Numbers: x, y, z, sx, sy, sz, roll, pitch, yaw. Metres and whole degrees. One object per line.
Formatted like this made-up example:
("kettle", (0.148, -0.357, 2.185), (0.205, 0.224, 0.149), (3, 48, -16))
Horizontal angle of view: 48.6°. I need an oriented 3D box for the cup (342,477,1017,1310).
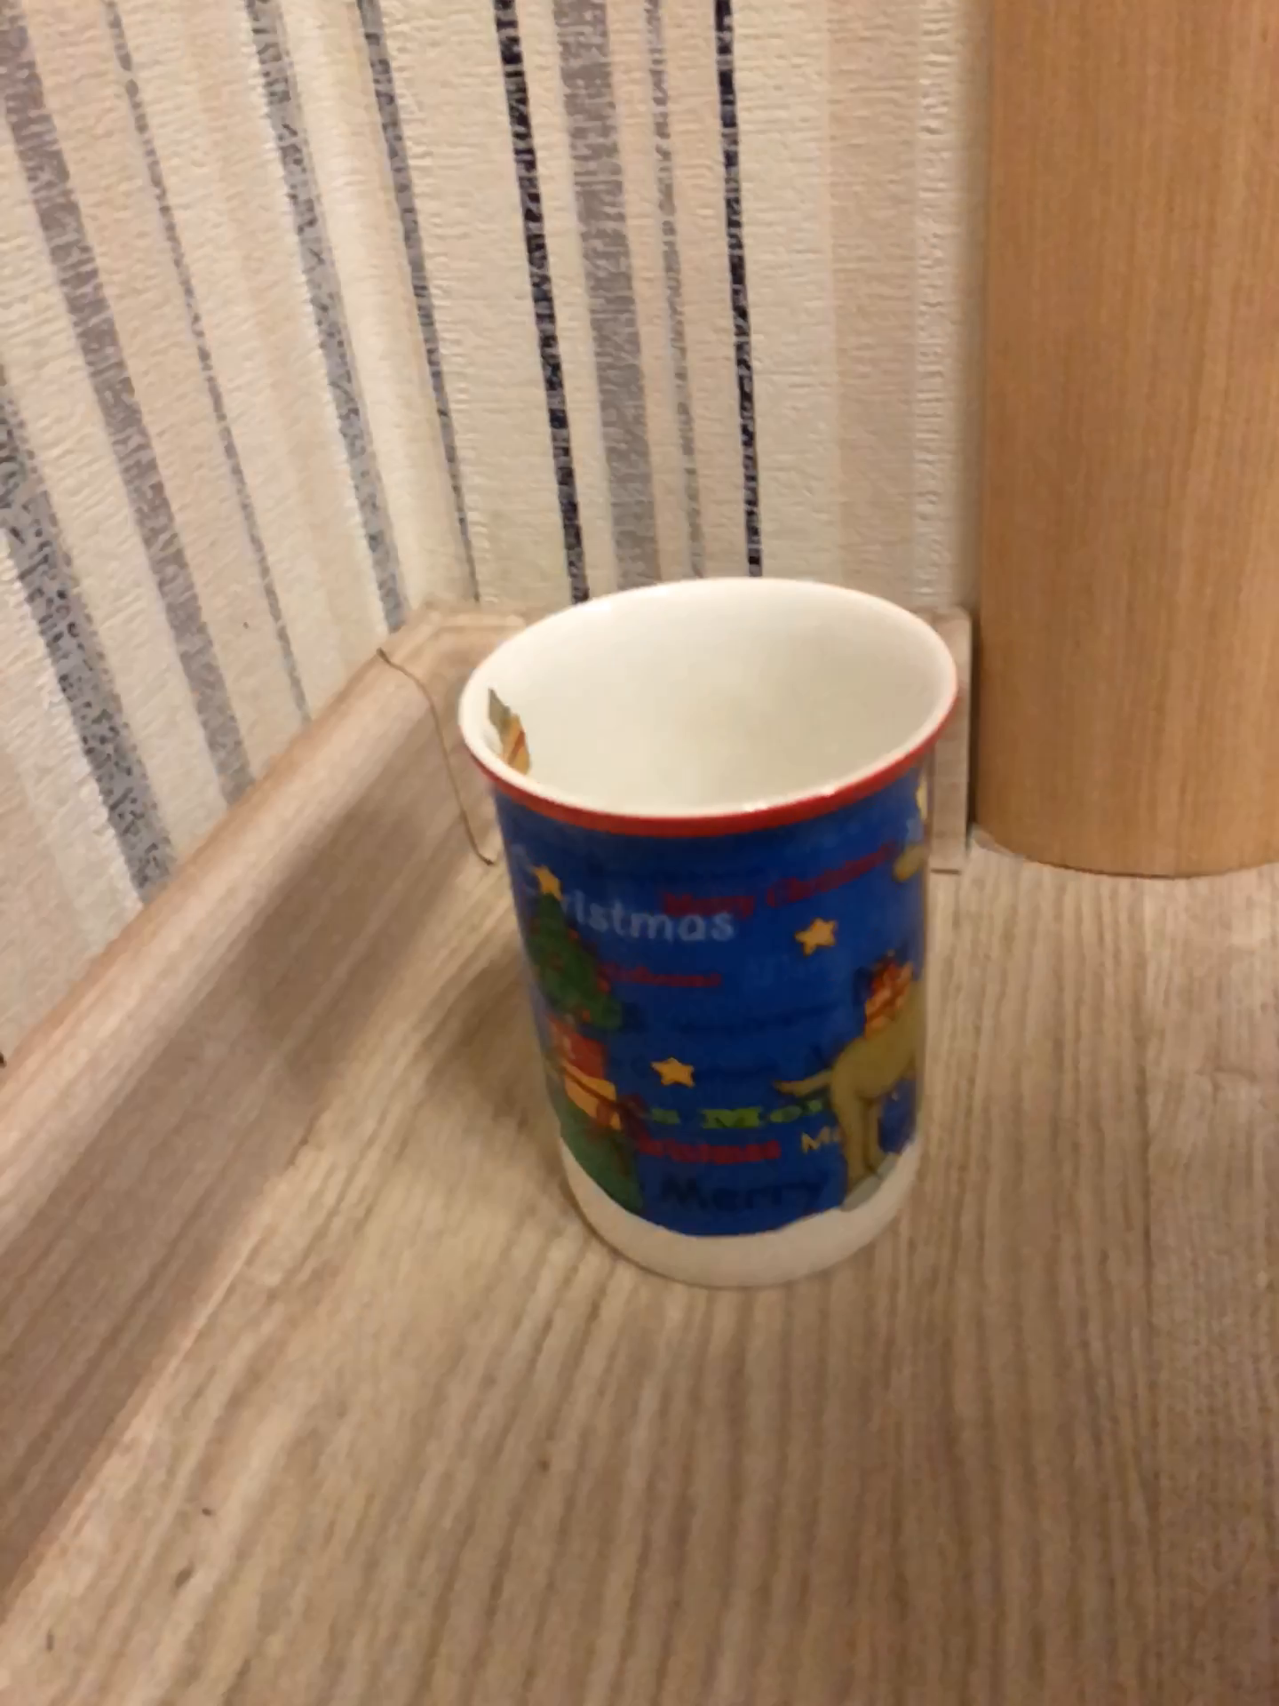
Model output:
("cup", (0.012, 0.002, 0.258), (0.087, 0.094, 0.121), (-3, 34, 6))
